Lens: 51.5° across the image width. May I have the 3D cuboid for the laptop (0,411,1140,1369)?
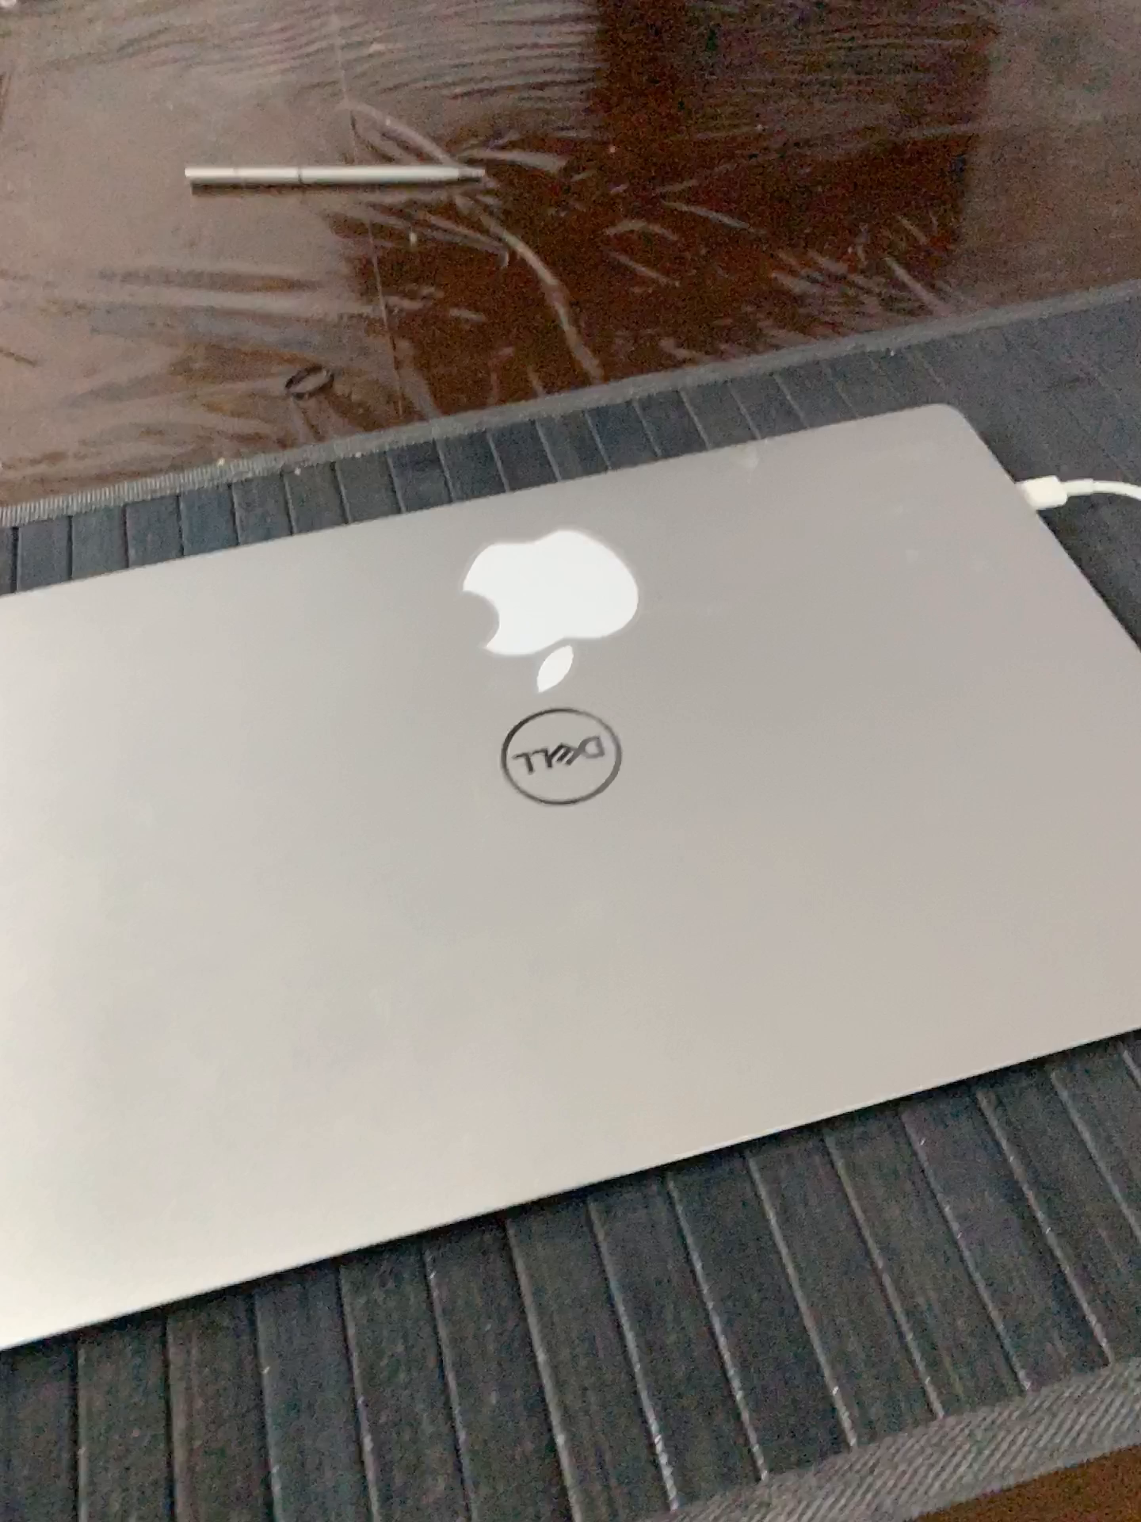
[{"bbox_3d":[-0.008,0.000,0.274,0.271,0.001,0.189,-14,53,-7],"label":"laptop"}]
